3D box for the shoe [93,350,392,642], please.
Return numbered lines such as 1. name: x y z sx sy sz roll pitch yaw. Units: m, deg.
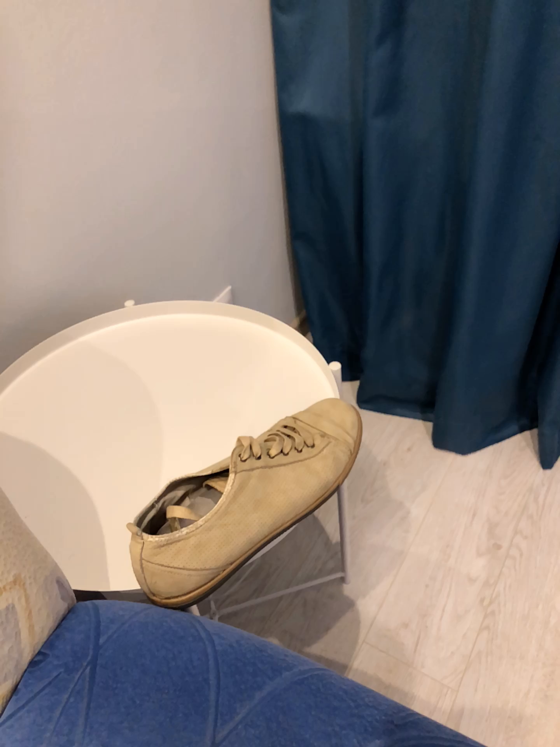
1. shoe: -0.019 0.095 0.582 0.110 0.070 0.281 25 49 34
